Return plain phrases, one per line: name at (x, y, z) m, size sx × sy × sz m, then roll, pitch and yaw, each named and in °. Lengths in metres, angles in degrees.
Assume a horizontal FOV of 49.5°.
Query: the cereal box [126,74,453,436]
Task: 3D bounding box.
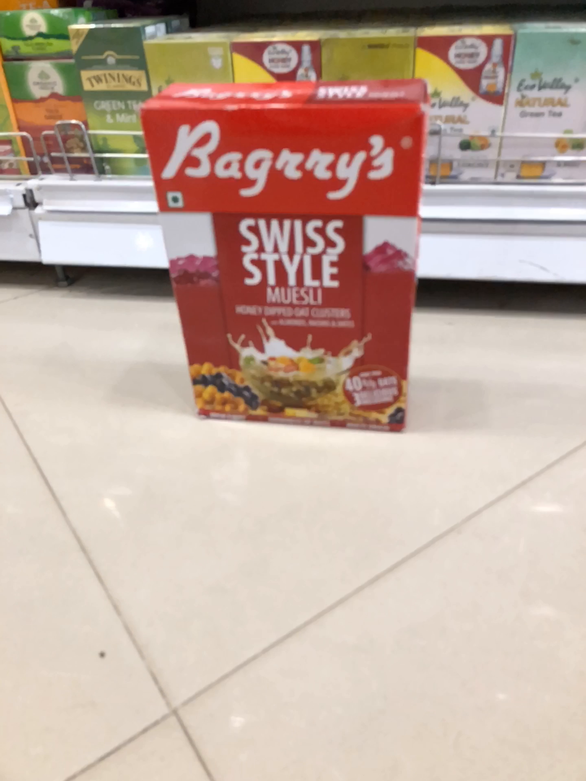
cereal box at (0.007, -0.095, 0.485) m, size 0.200 × 0.248 × 0.081 m, roll 4°, pitch 36°, yaw 11°
